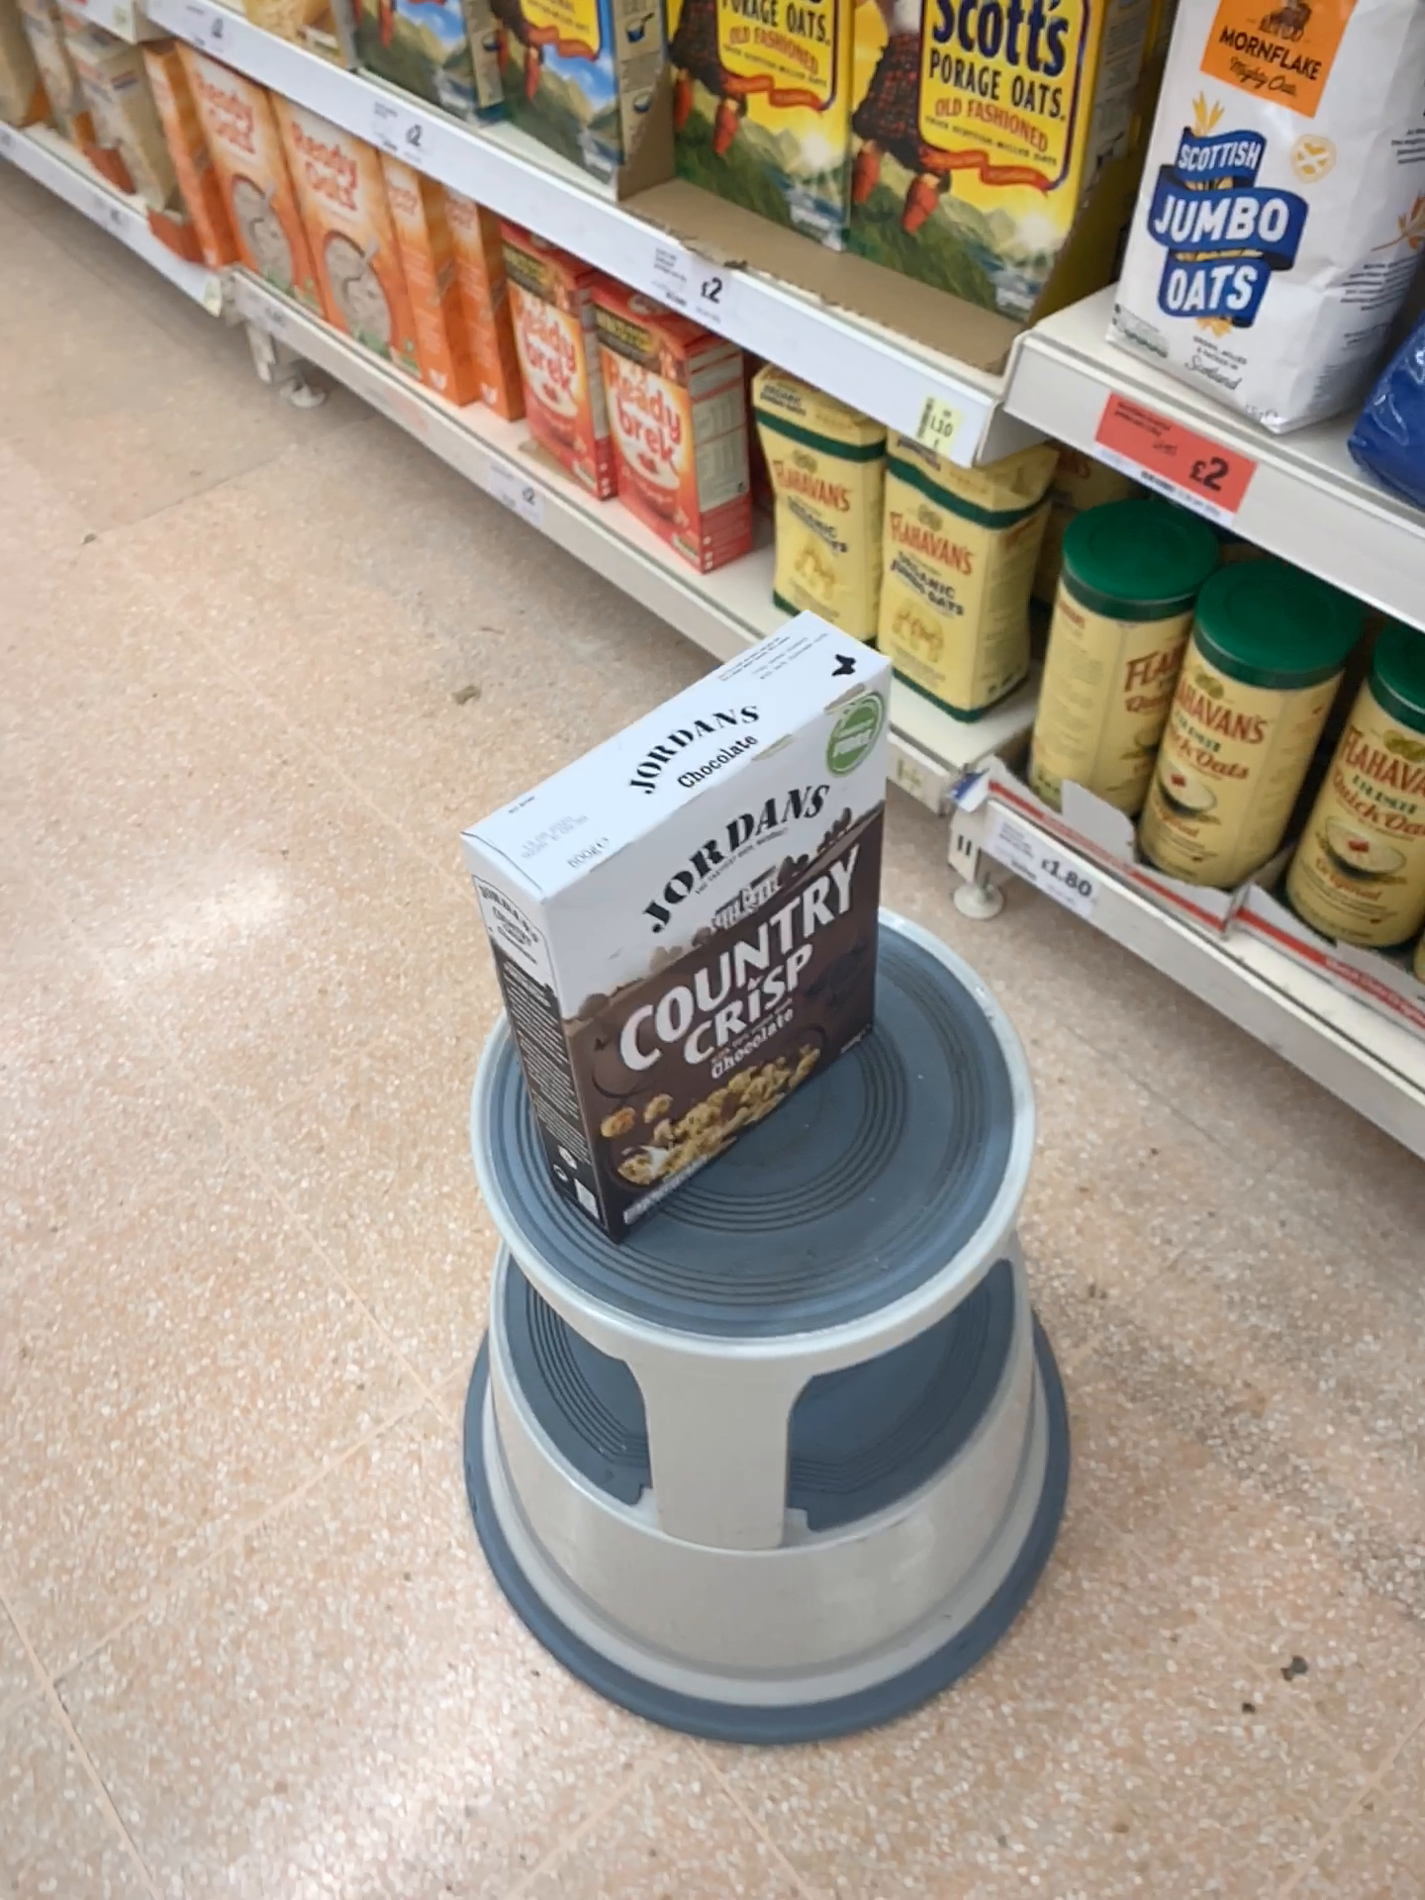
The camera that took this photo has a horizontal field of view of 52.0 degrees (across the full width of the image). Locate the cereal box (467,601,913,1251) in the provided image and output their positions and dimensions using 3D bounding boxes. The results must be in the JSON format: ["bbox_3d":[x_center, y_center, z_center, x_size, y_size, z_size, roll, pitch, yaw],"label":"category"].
[{"bbox_3d":[-0.001,0.000,0.640,0.181,0.248,0.050,-37,58,-25],"label":"cereal box"}]
